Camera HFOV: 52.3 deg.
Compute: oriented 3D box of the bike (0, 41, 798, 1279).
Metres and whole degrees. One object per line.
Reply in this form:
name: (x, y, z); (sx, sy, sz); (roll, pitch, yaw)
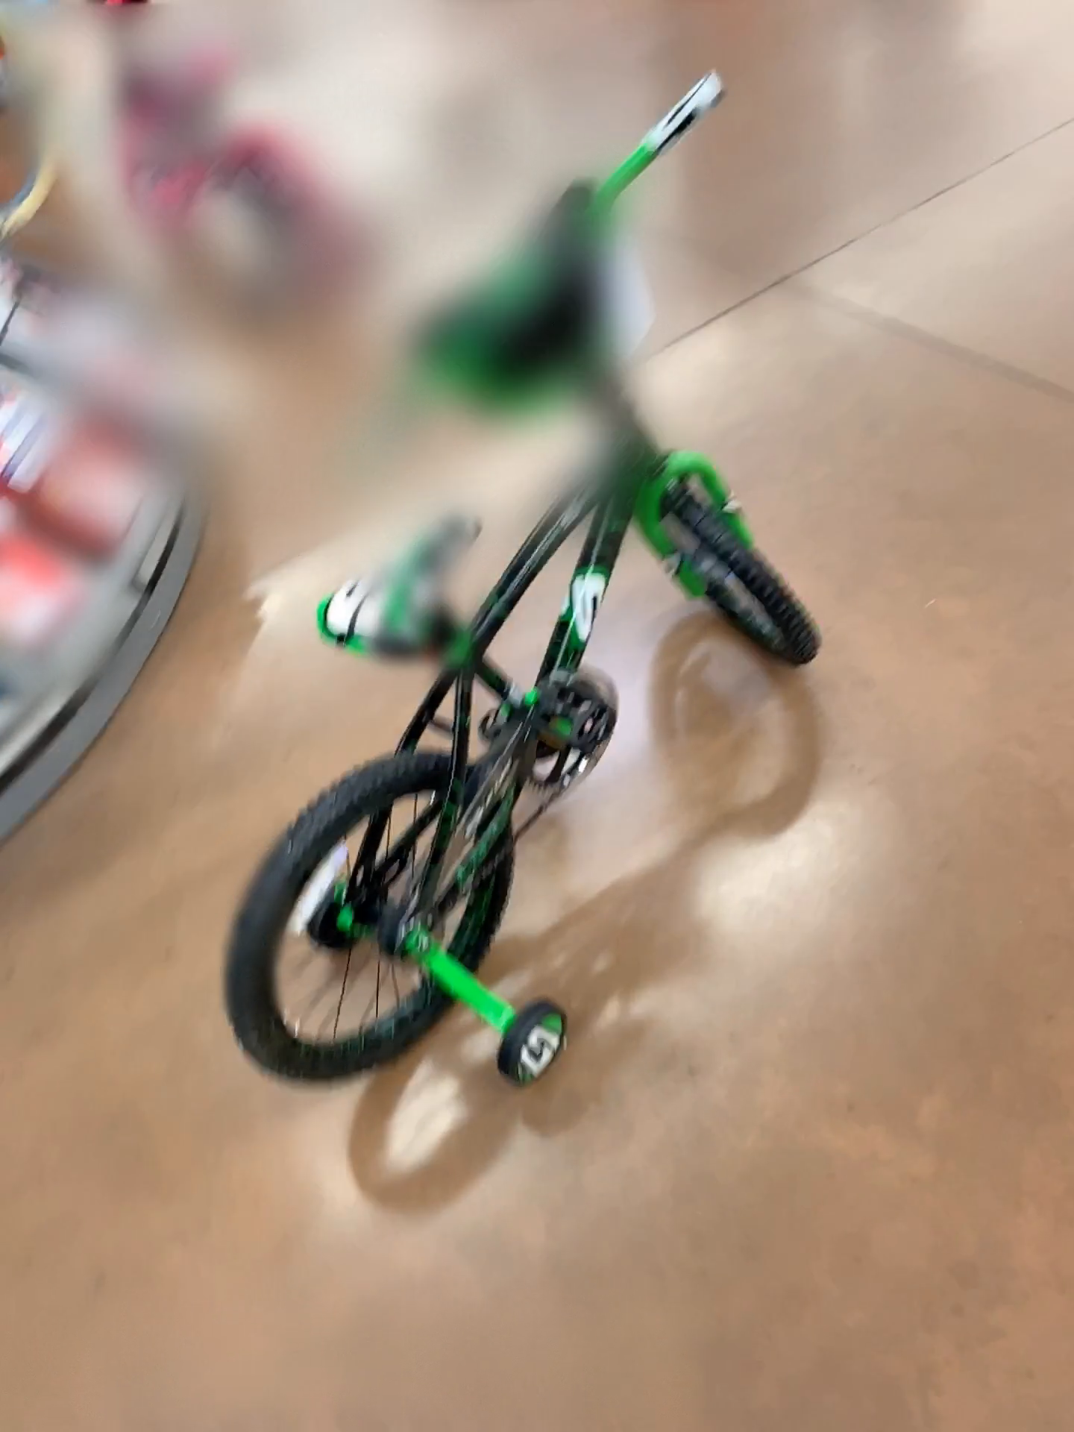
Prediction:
bike: (-0.129, -0.141, 1.380); (0.638, 0.913, 1.053); (15, 54, 26)
